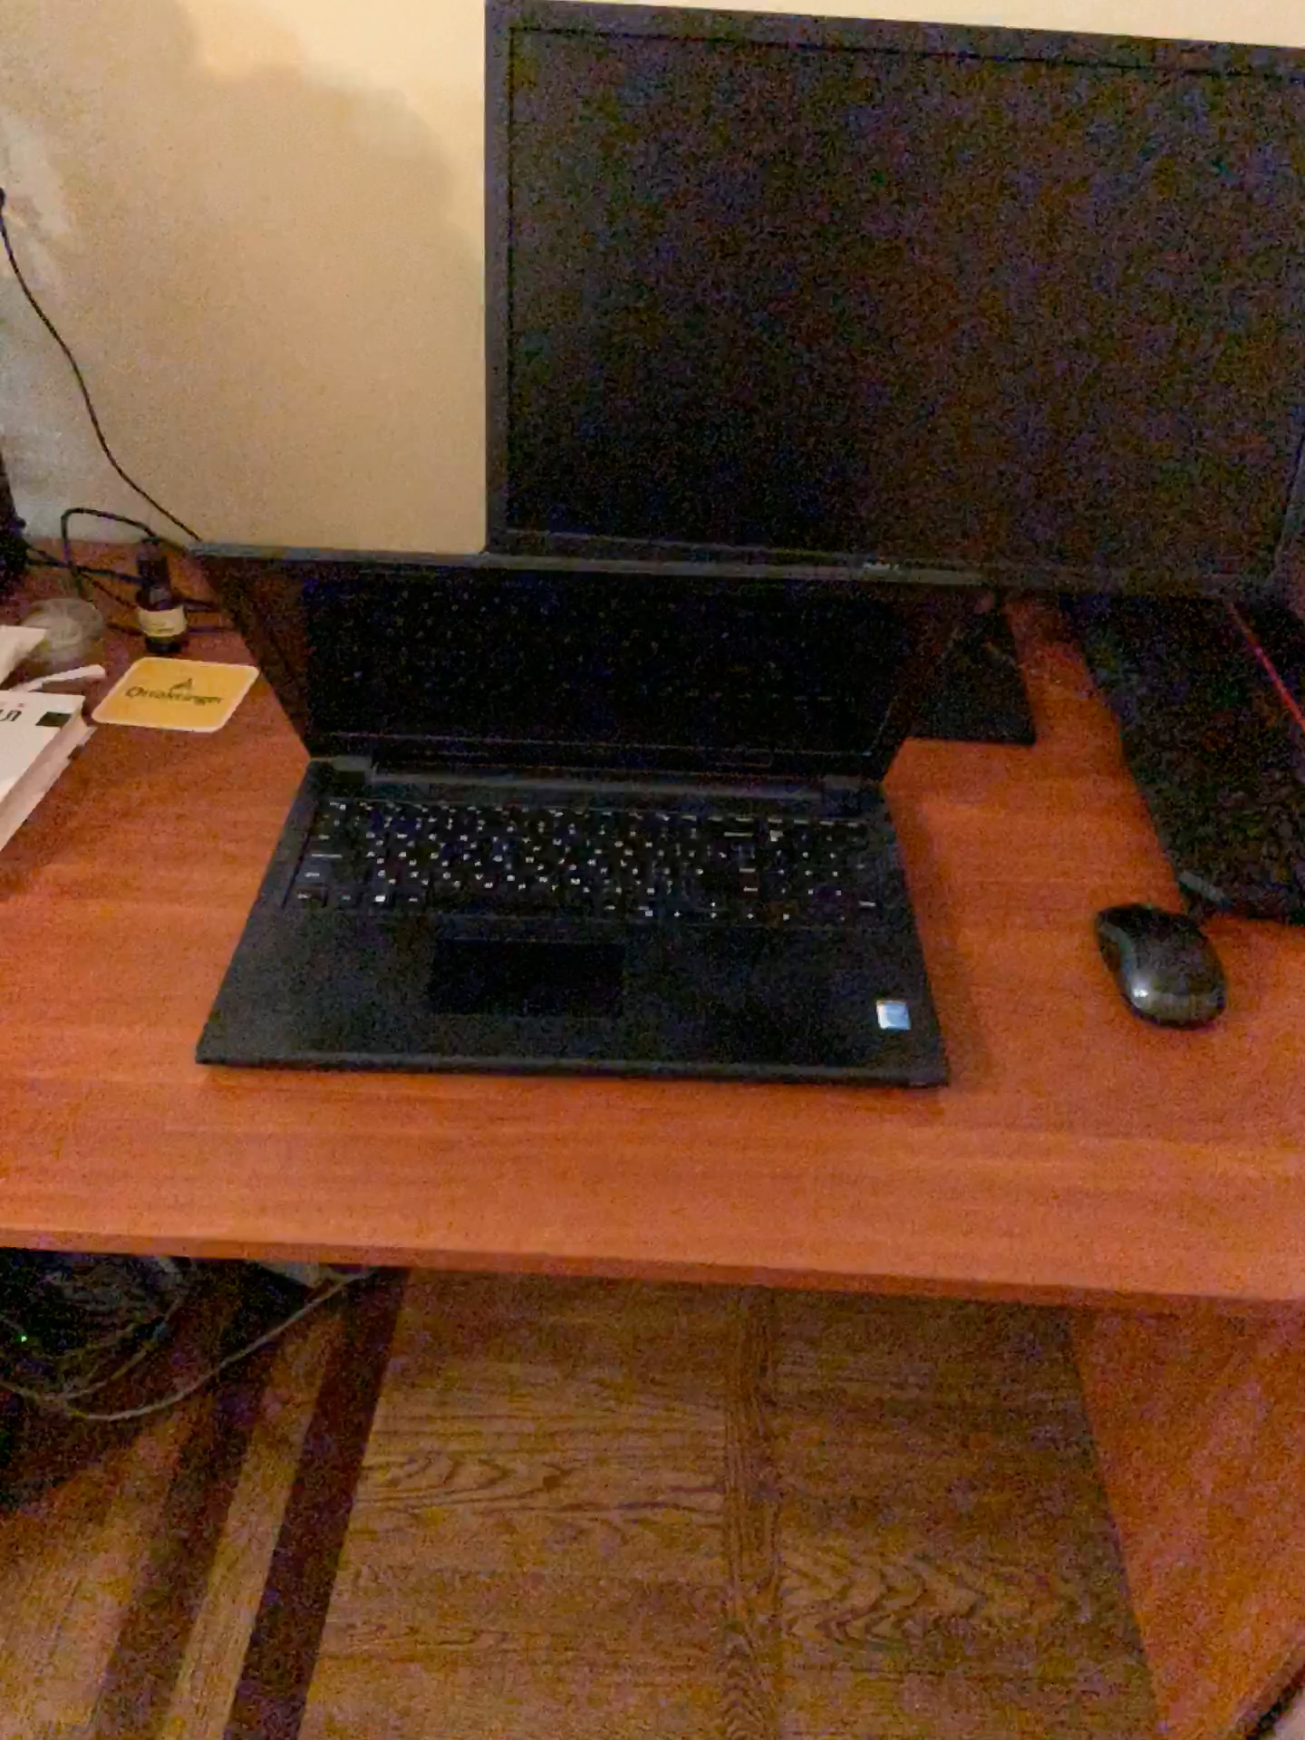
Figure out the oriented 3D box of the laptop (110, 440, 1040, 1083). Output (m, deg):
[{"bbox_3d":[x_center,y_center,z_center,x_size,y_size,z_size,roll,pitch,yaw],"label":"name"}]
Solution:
[{"bbox_3d":[-0.035,-0.065,0.695,0.372,0.212,0.255,3,38,-1],"label":"laptop"}]
